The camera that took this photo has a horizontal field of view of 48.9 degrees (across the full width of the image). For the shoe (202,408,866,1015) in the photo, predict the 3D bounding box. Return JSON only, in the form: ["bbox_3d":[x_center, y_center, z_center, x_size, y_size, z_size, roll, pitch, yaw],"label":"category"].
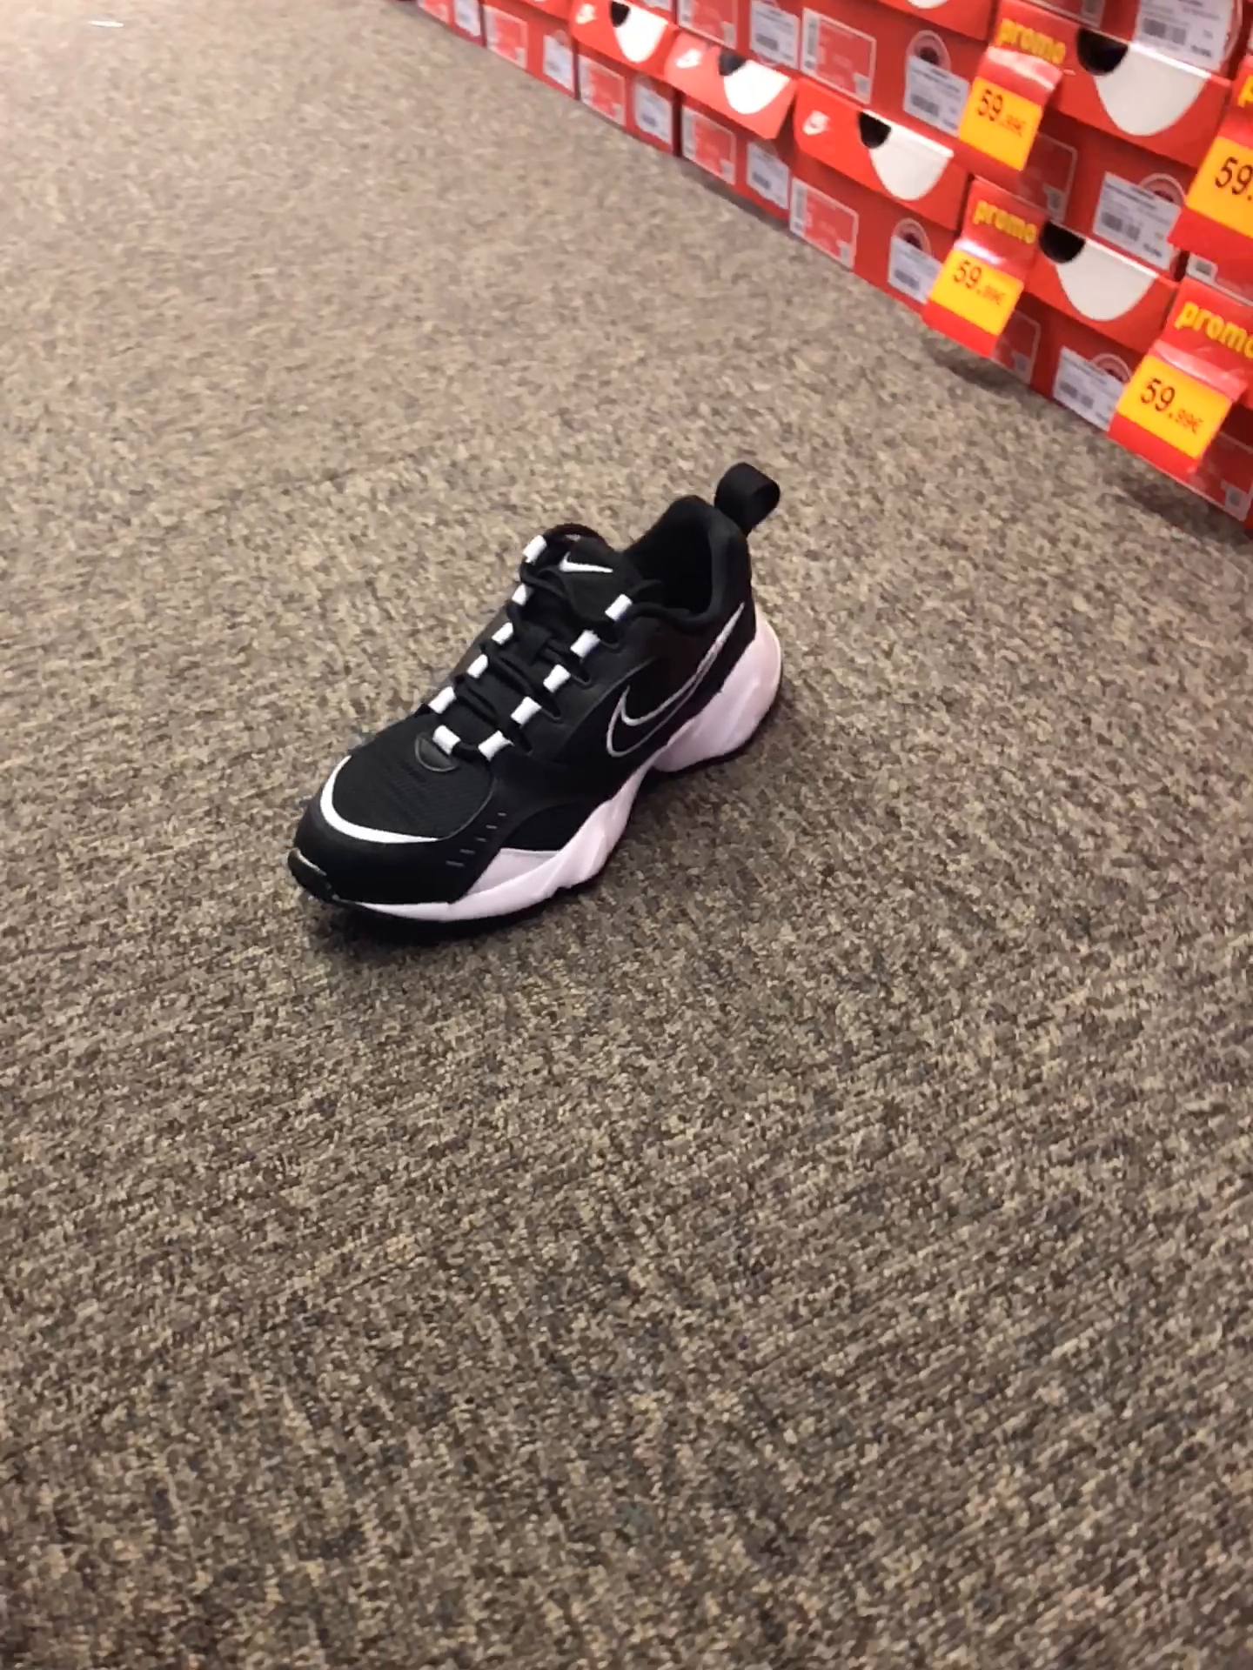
[{"bbox_3d":[-0.026,-0.063,0.584,0.261,0.109,0.104,-37,54,-27],"label":"shoe"}]
